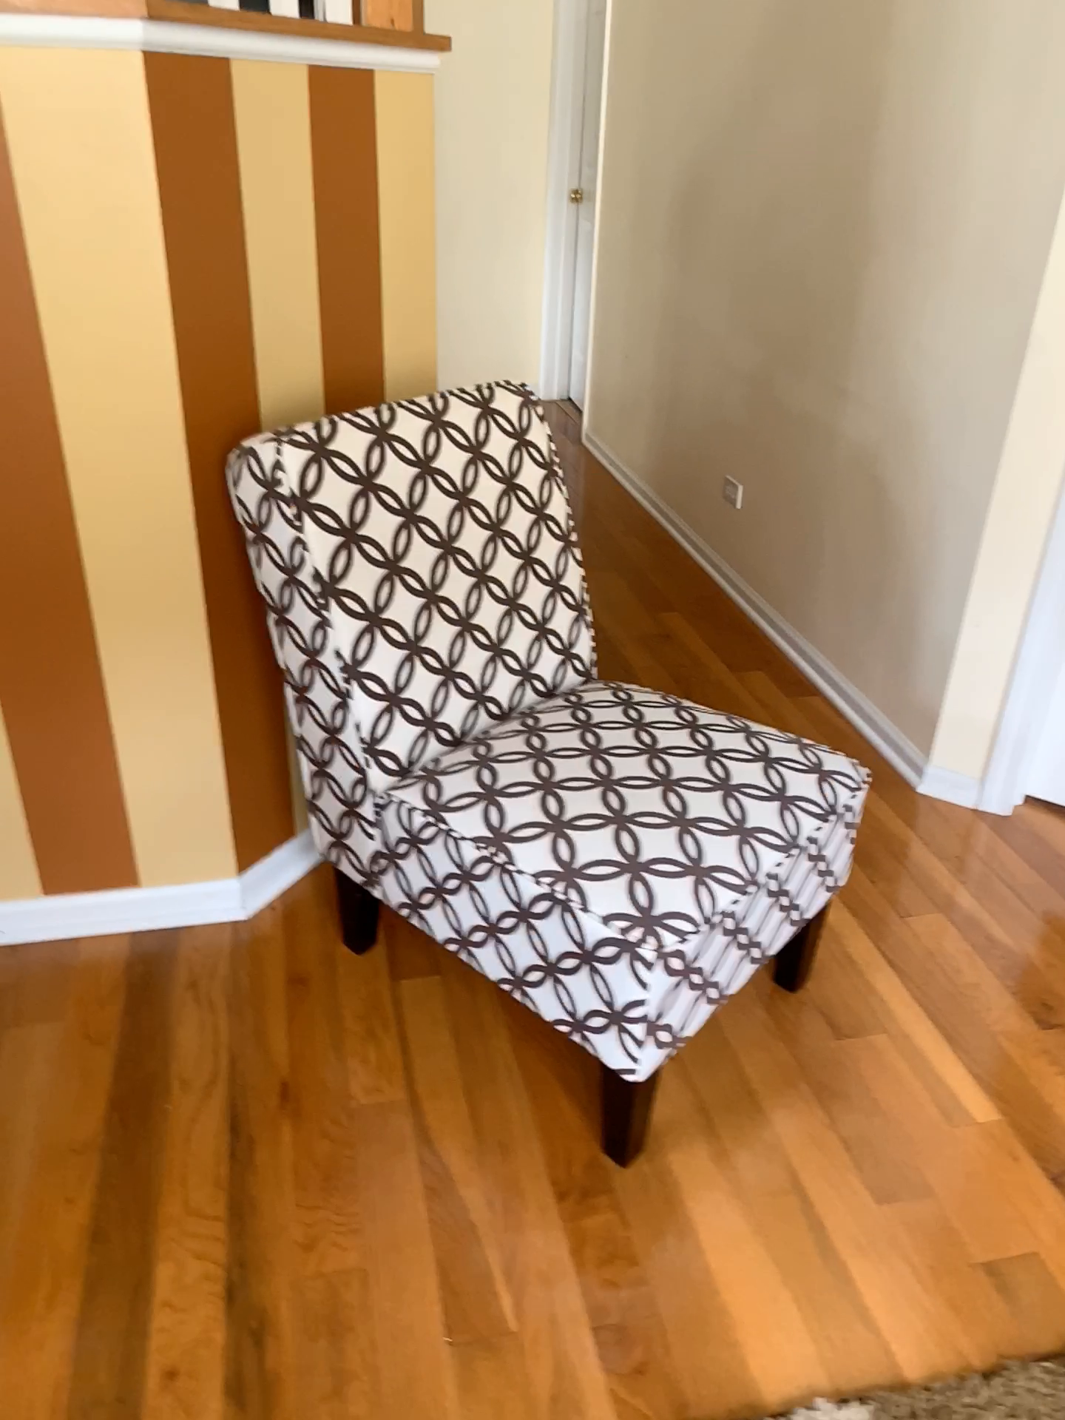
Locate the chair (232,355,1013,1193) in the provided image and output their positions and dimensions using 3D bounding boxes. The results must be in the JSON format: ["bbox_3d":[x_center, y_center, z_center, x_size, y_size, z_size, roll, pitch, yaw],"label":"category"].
[{"bbox_3d":[0.102,-0.008,1.512,0.737,0.775,0.625,22,34,35],"label":"chair"}]
